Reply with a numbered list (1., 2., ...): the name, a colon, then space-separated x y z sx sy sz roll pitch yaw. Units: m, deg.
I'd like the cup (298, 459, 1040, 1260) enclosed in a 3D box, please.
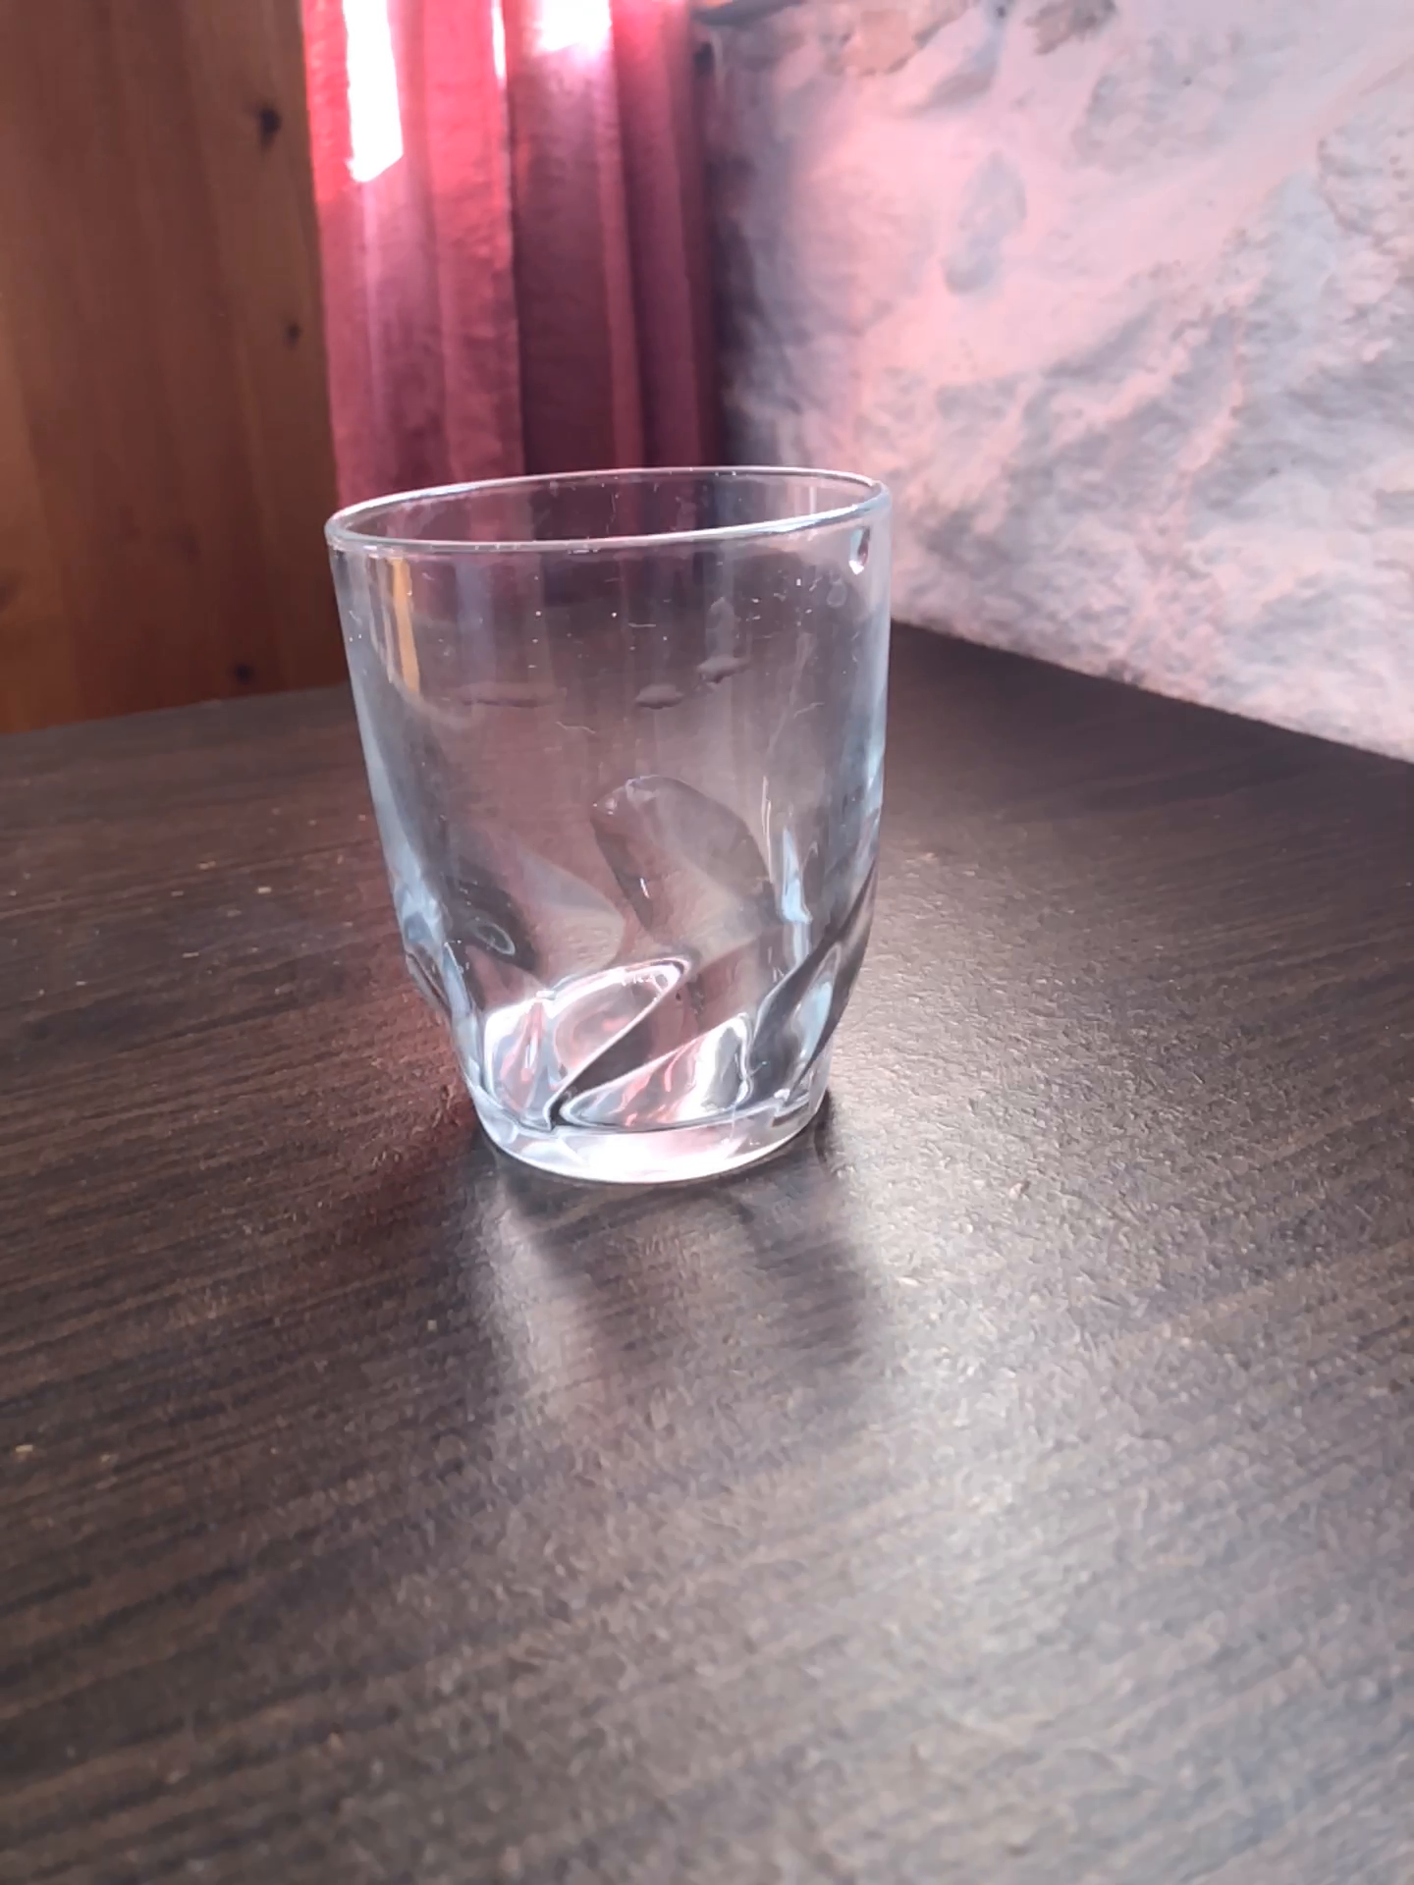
1. cup: -0.008 -0.020 0.227 0.075 0.085 0.078 -2 22 1
